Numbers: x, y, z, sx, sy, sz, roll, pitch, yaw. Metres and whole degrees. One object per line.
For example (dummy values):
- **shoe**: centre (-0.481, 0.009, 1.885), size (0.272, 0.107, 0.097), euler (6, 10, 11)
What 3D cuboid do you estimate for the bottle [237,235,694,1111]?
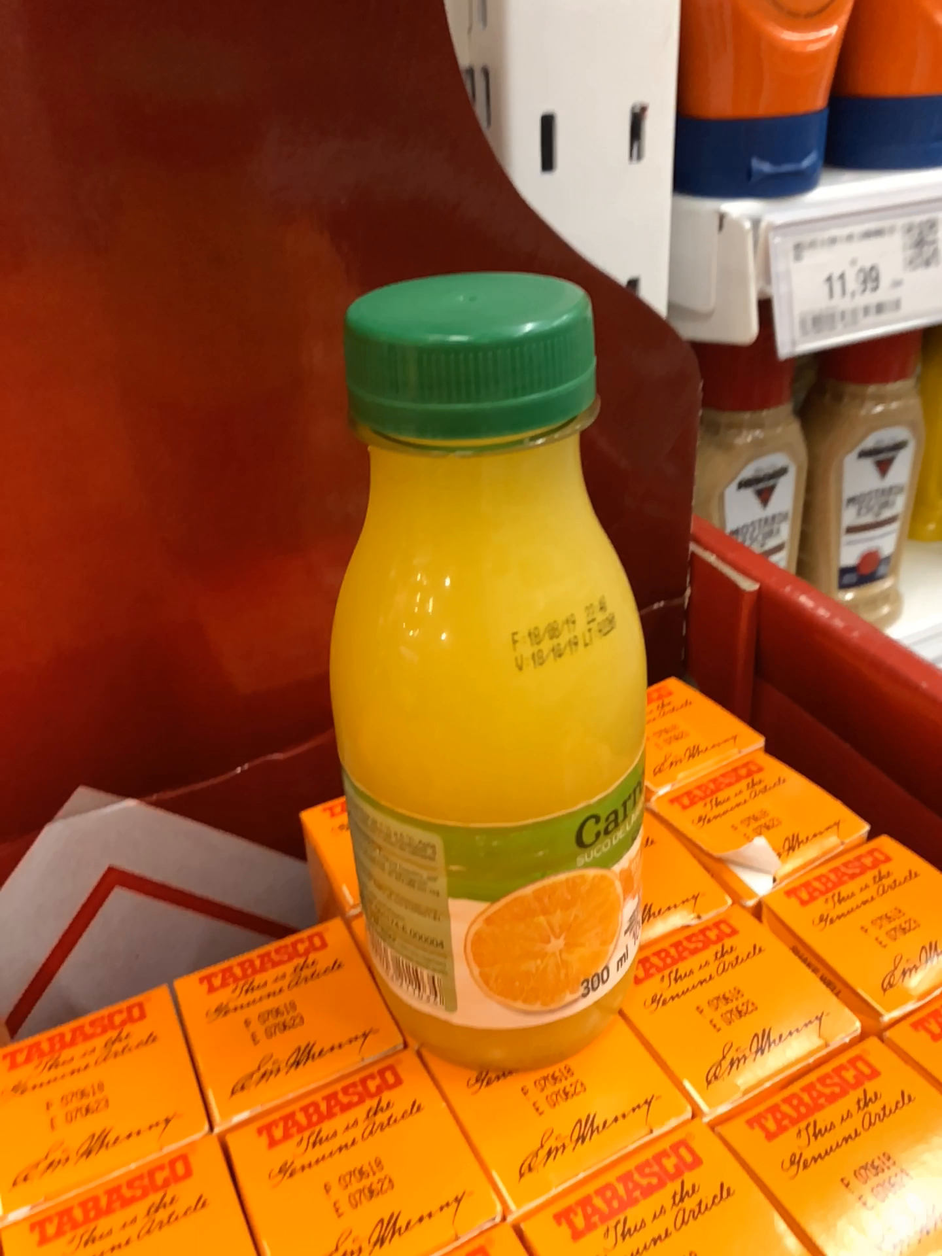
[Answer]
- **bottle**: centre (0.007, 0.010, 0.199), size (0.050, 0.149, 0.060), euler (10, 33, 23)
